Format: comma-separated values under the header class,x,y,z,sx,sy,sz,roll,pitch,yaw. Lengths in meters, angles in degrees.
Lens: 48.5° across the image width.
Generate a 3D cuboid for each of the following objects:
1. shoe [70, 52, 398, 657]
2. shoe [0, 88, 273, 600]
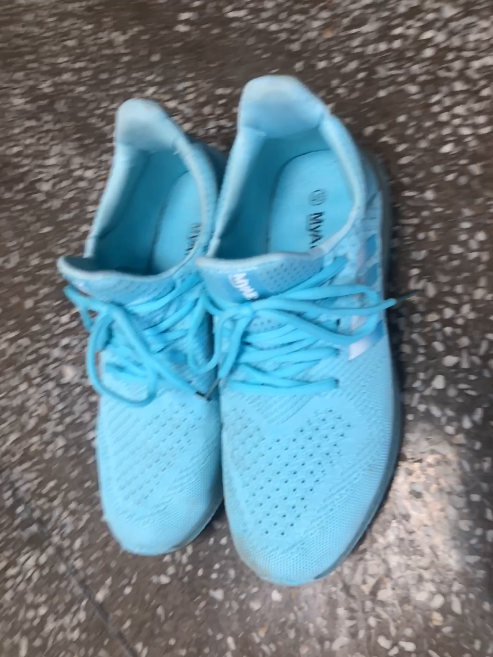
class,x,y,z,sx,sy,sz,roll,pitch,yaw
shoe,0.008,0.010,0.323,0.120,0.125,0.271,2,80,26
shoe,-0.079,0.008,0.367,0.120,0.125,0.271,4,81,26
